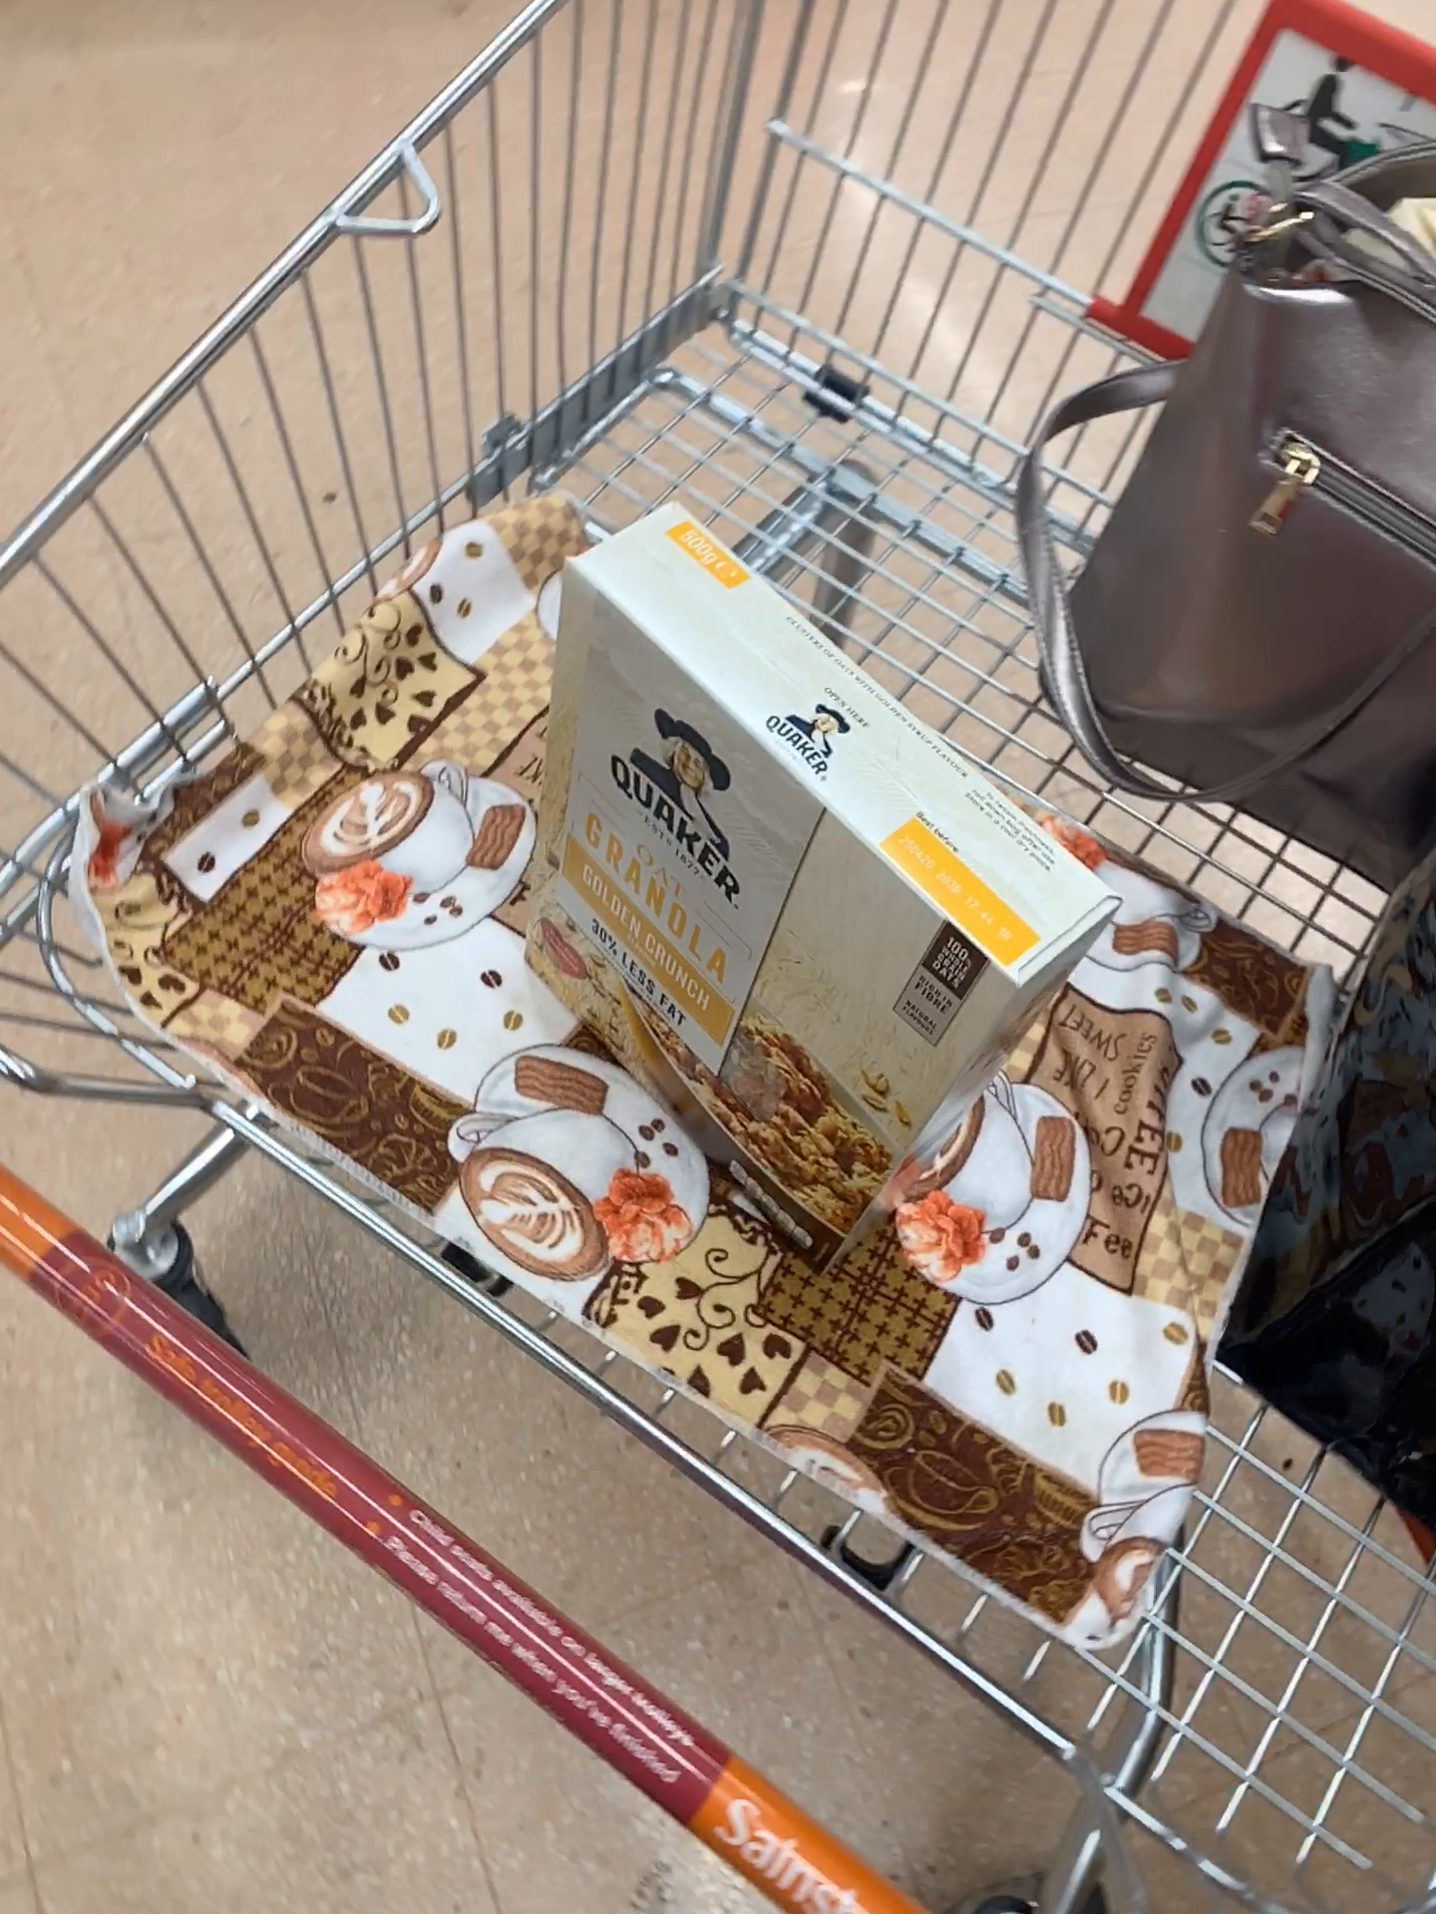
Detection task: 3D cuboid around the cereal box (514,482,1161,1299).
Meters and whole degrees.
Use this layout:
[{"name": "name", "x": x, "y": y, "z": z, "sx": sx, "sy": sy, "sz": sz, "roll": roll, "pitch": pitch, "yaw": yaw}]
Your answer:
[{"name": "cereal box", "x": 0.016, "y": -0.005, "z": 0.538, "sx": 0.050, "sy": 0.259, "sz": 0.200, "roll": -37, "pitch": 73, "yaw": -27}]
